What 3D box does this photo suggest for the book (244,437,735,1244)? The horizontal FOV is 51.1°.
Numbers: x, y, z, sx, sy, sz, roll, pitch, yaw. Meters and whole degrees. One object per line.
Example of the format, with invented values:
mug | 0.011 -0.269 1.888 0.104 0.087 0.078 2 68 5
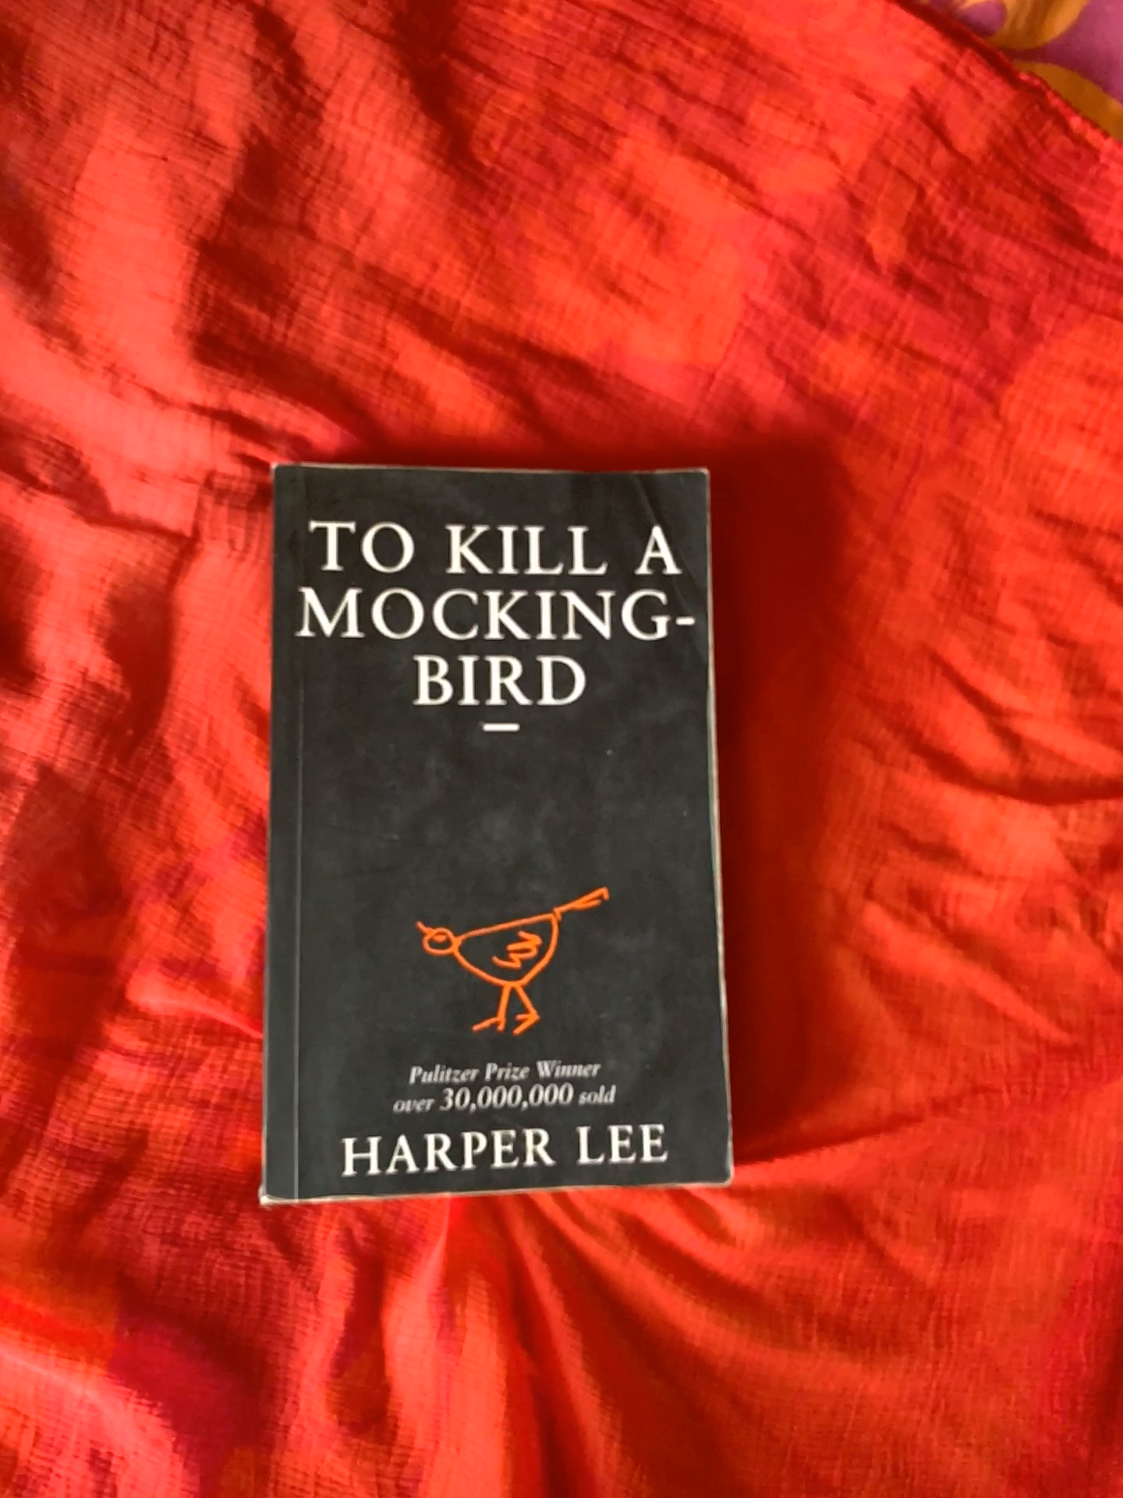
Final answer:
book | -0.020 0.019 0.292 0.110 0.040 0.180 -1 83 -10
